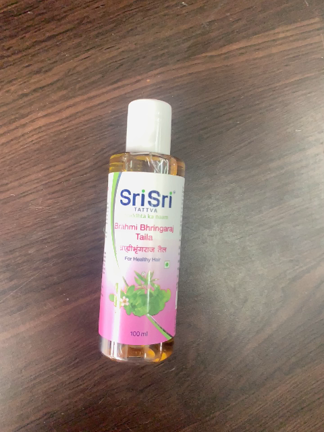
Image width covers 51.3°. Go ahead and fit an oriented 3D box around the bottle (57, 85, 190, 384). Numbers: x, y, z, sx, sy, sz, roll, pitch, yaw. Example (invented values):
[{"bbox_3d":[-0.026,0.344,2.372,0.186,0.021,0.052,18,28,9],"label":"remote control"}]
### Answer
[{"bbox_3d":[-0.019,0.009,0.170,0.050,0.040,0.130,4,89,-7],"label":"bottle"}]
